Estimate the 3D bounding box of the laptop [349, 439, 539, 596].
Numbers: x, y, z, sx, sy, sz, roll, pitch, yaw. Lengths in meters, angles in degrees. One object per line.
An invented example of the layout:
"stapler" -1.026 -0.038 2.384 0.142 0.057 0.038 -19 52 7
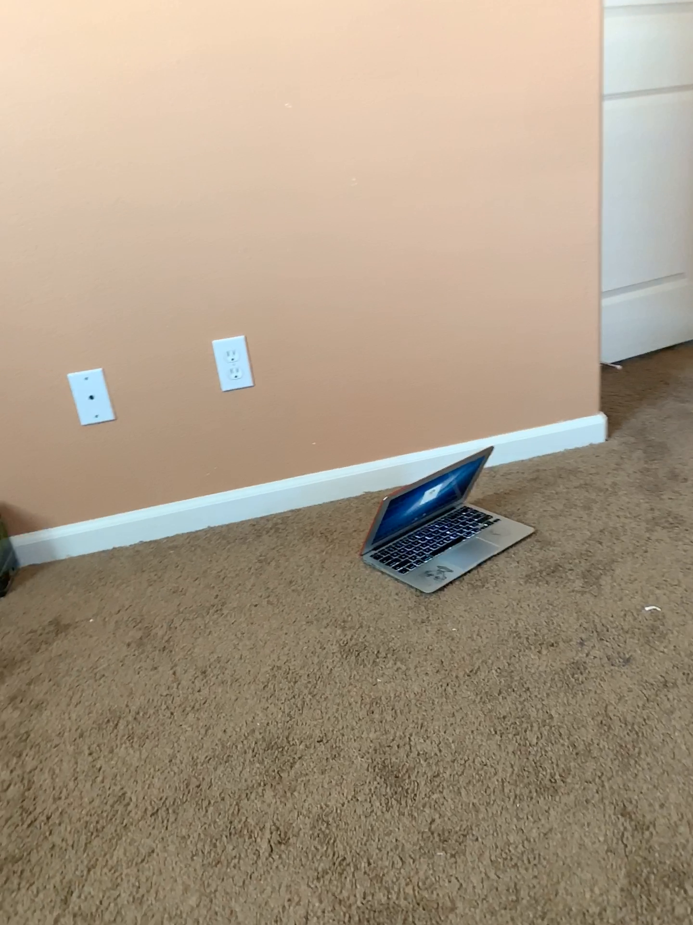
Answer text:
"laptop" 0.190 0.090 1.340 0.299 0.148 0.193 -23 26 -33
